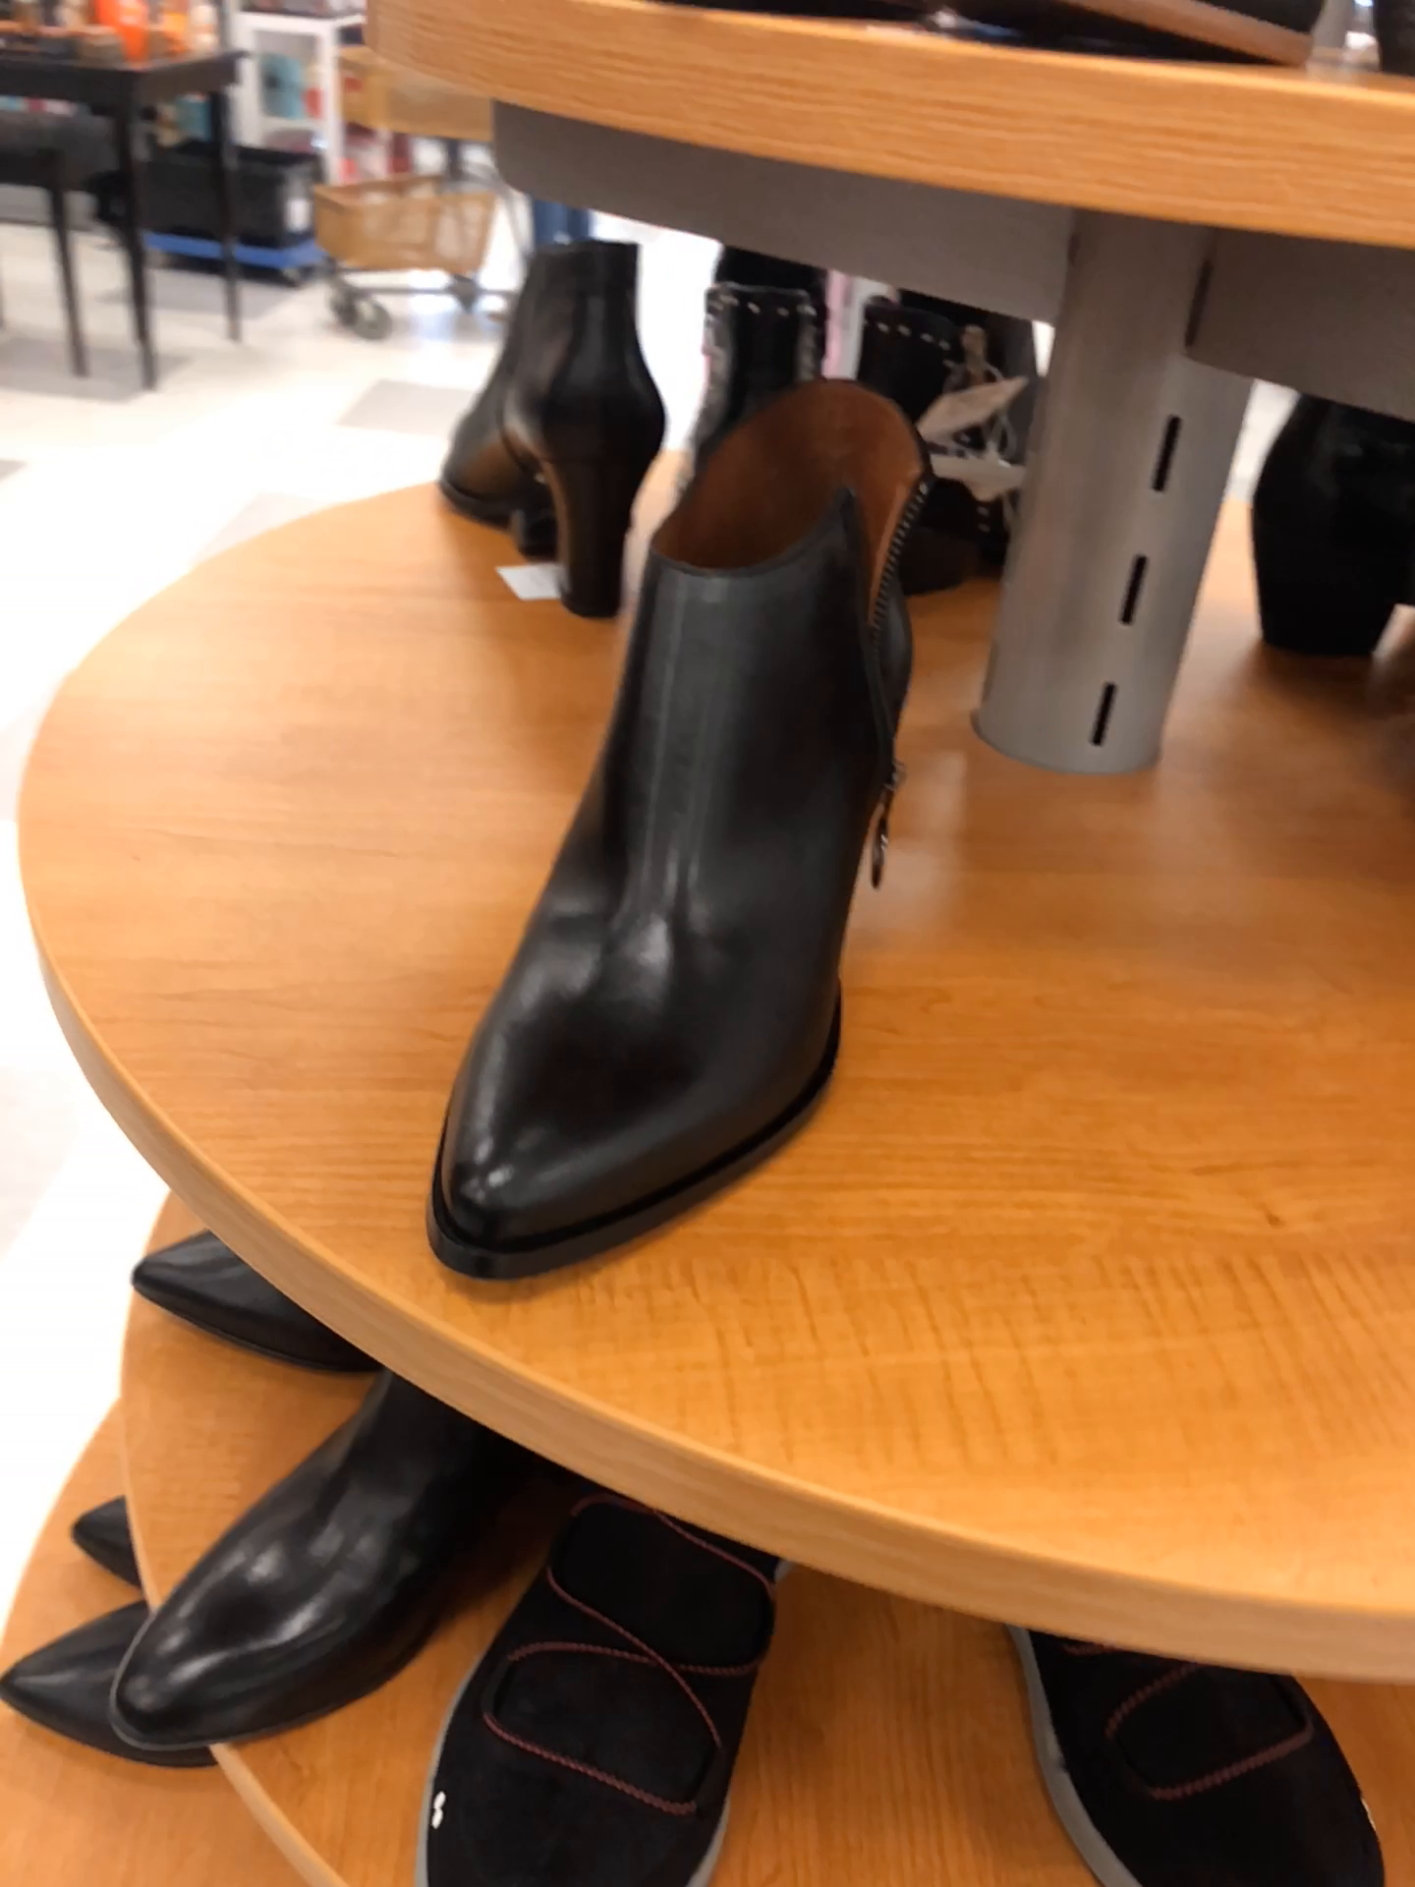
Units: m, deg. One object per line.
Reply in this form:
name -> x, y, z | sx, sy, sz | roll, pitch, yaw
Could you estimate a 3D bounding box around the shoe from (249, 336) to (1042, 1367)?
shoe -> 0.002, -0.049, 0.418 | 0.100, 0.156, 0.259 | 15, 34, 14
